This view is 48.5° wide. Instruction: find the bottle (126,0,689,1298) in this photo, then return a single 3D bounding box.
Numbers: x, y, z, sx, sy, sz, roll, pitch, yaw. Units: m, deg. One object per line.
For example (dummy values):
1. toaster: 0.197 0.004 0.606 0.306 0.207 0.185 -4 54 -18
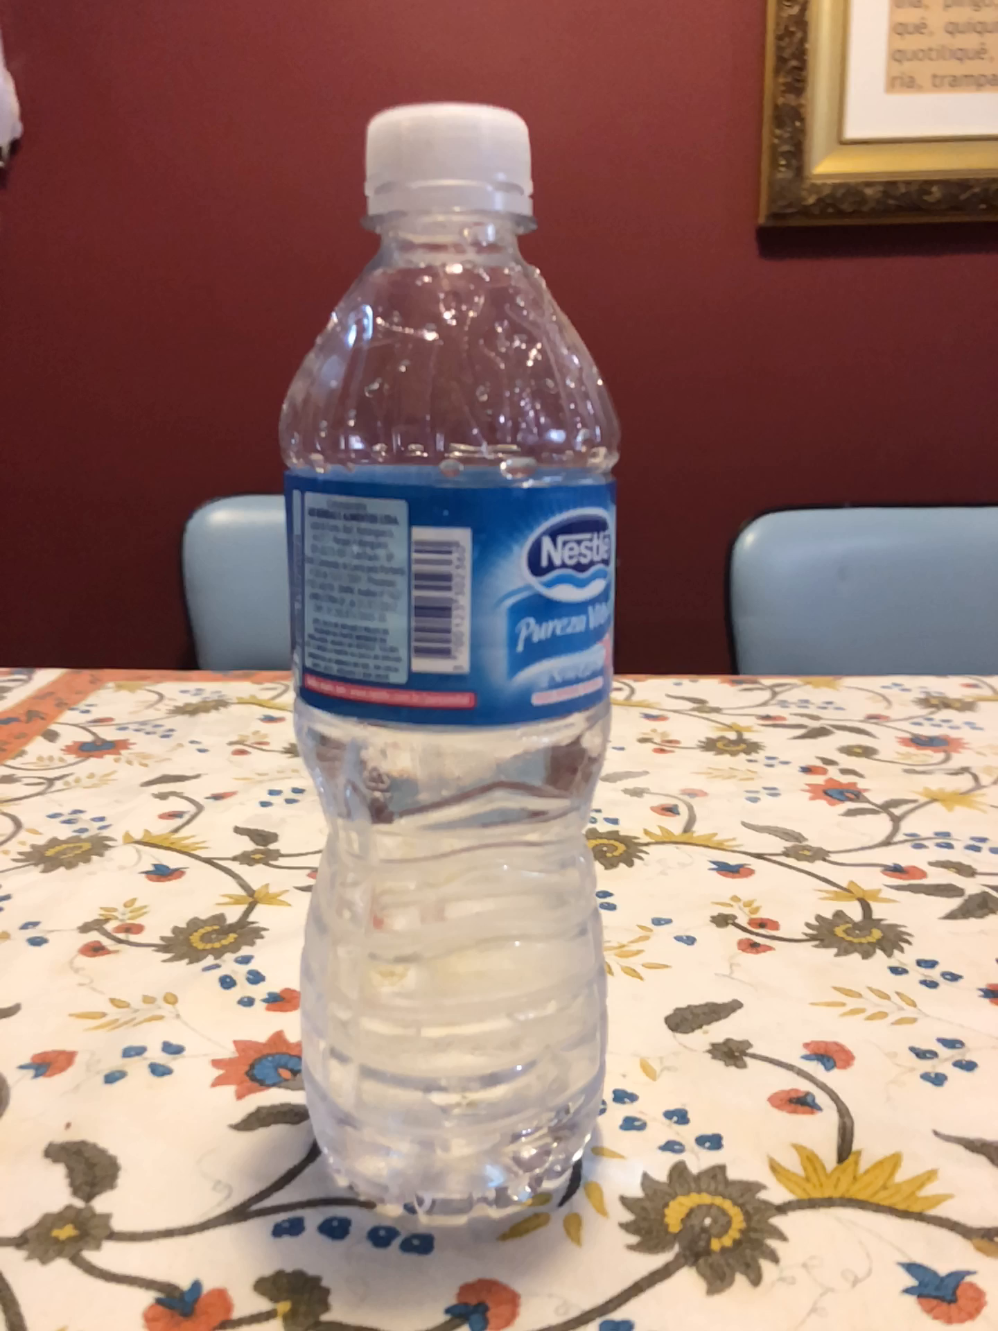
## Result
1. bottle: -0.013 -0.001 0.202 0.070 0.189 0.060 9 16 38
